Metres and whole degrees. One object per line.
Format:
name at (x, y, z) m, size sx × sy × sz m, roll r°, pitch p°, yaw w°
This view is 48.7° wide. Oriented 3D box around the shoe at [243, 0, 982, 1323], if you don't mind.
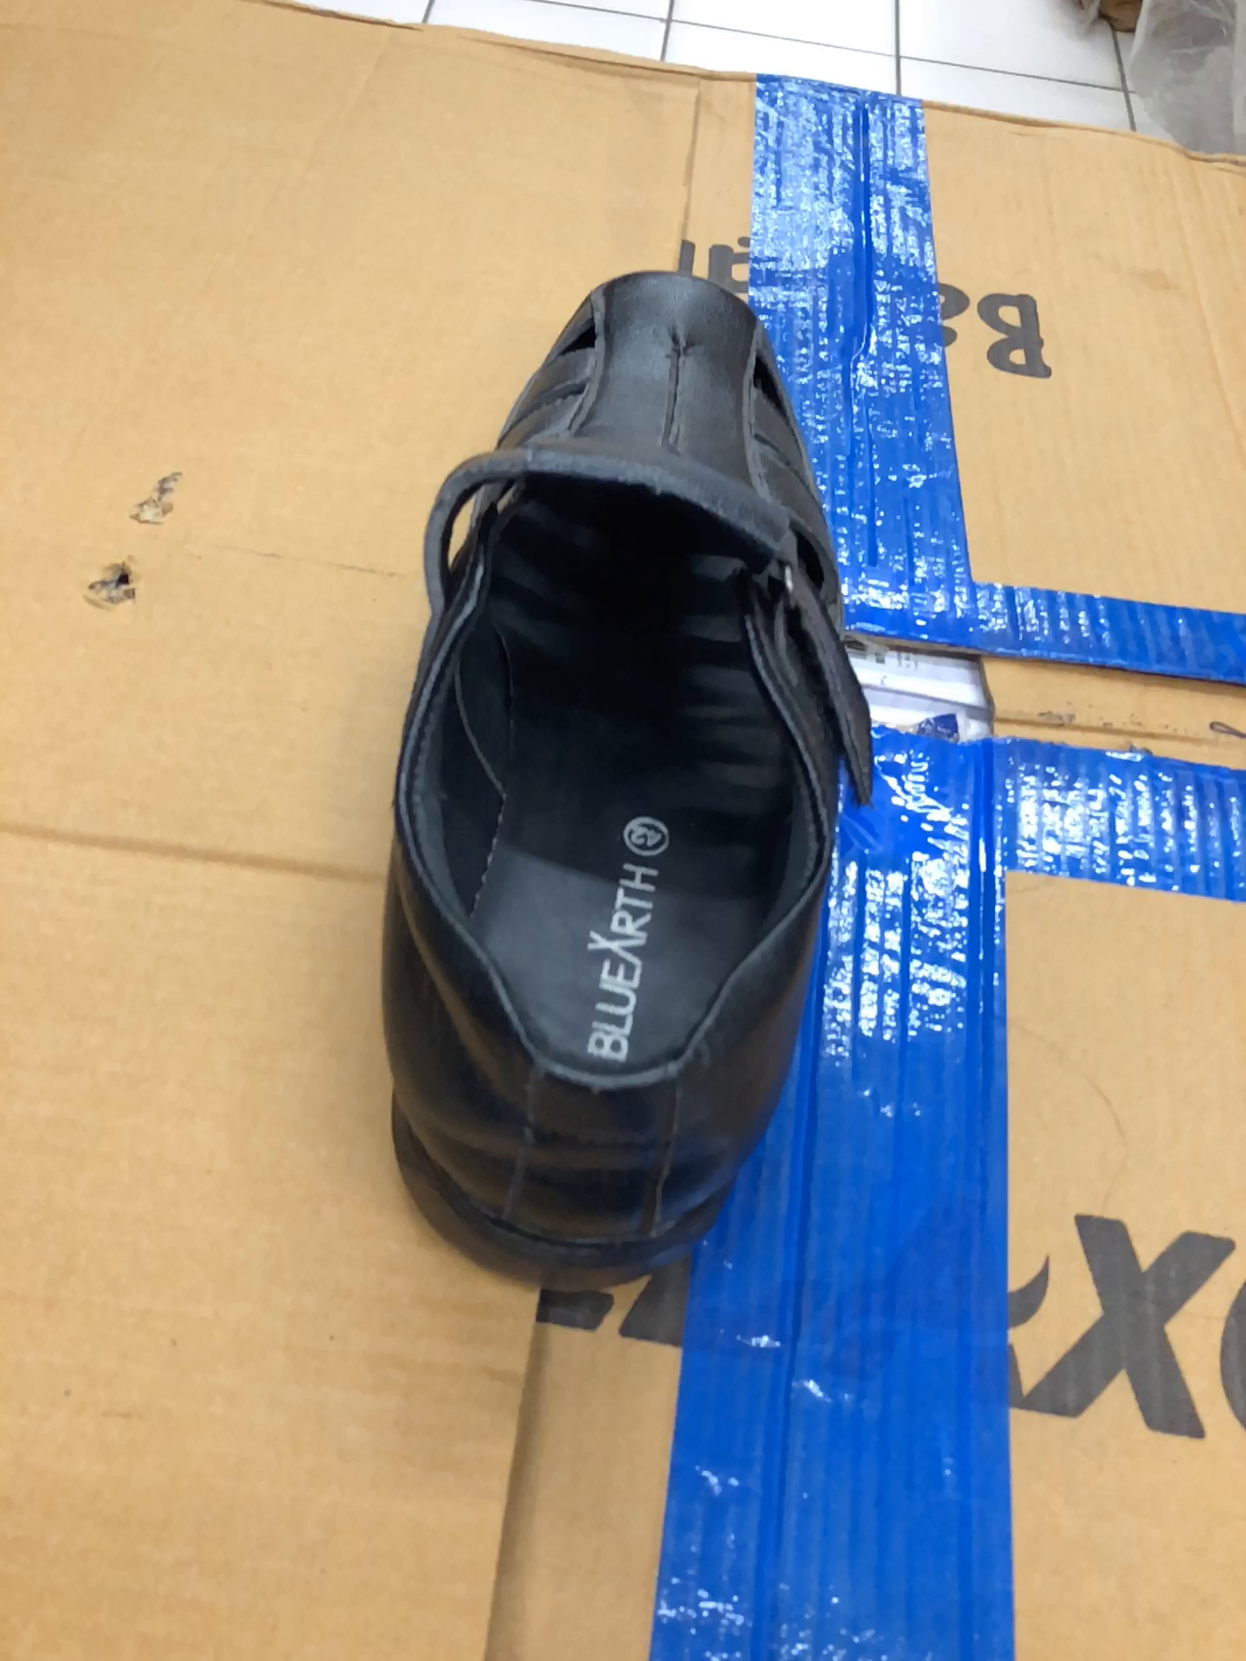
shoe at (0.006, -0.062, 0.312) m, size 0.100 × 0.097 × 0.305 m, roll 7°, pitch 55°, yaw -2°
